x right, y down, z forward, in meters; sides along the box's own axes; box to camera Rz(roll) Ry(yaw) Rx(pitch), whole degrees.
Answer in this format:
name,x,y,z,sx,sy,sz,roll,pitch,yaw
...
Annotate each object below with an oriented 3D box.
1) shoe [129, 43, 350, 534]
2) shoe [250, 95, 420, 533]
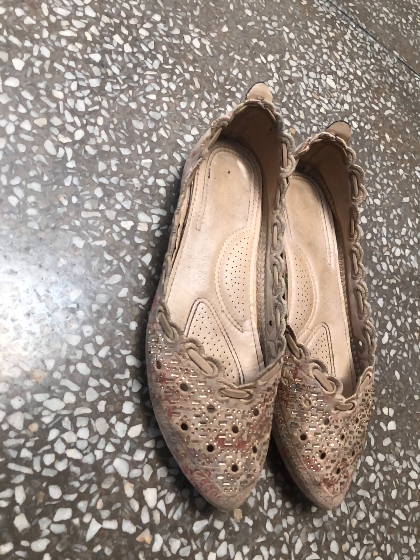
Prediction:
name,x,y,z,sx,sy,sz,roll,pitch,yaw
shoe,0.017,0.000,0.279,0.089,0.068,0.254,12,68,-28
shoe,0.090,0.016,0.314,0.089,0.068,0.254,8,70,-29
